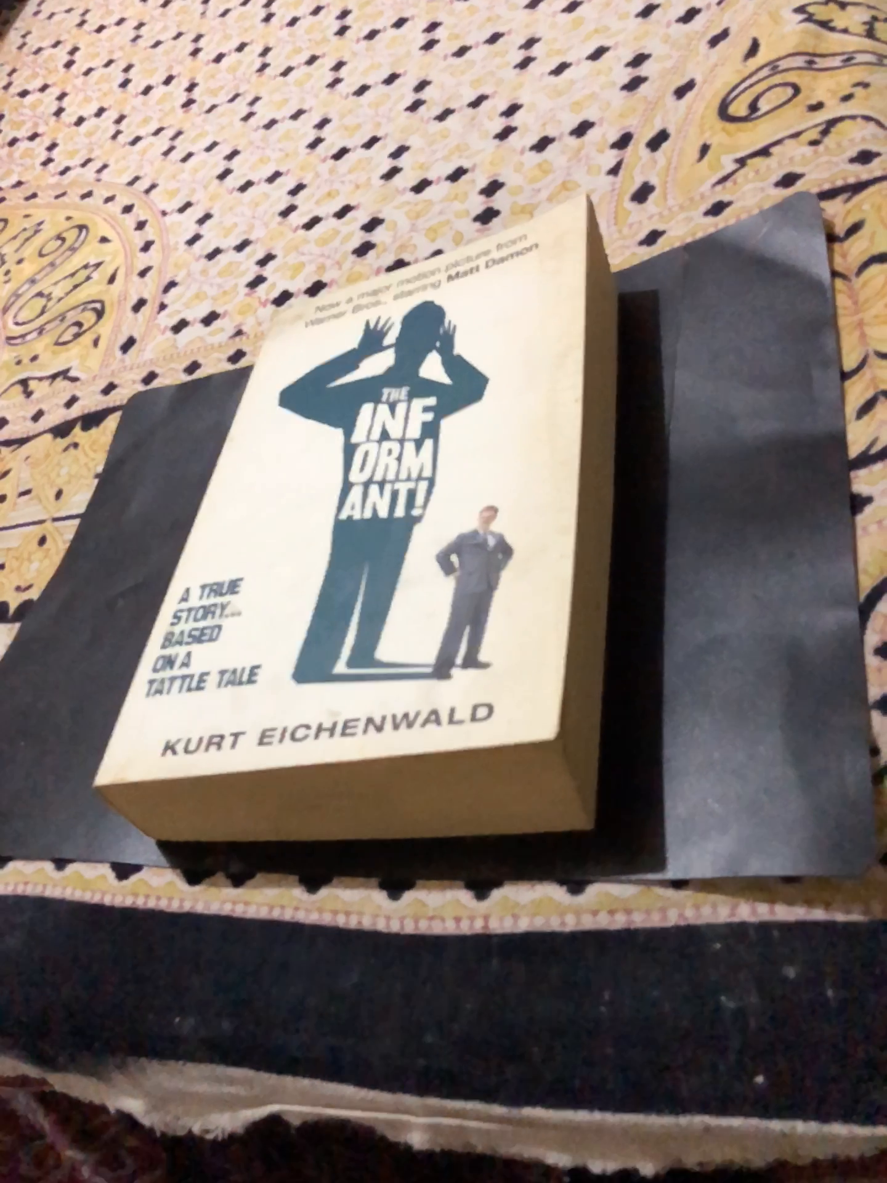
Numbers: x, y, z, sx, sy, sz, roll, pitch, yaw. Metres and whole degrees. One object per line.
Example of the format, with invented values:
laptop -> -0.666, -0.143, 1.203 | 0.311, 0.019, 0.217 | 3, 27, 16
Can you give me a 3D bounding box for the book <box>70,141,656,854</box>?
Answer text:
book -> -0.009, -0.038, 0.314 | 0.140, 0.050, 0.230 | -9, 49, 25
